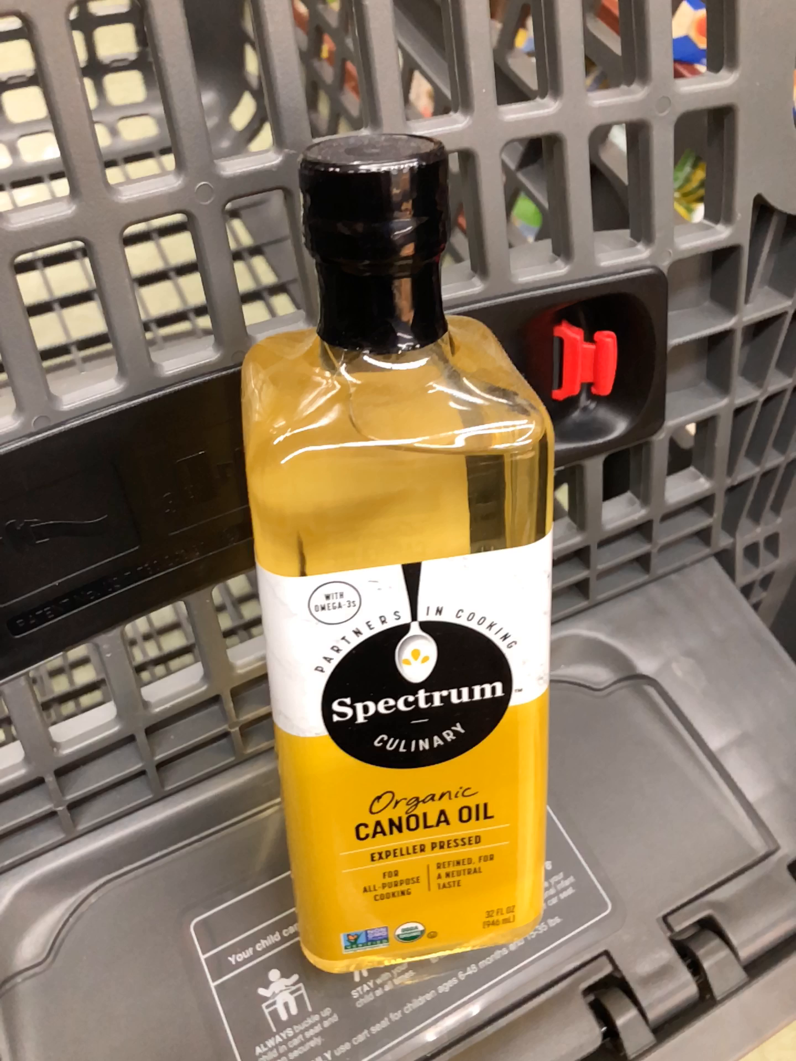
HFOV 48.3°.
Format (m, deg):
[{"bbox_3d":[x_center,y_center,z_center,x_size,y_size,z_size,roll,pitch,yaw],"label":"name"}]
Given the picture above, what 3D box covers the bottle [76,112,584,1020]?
[{"bbox_3d":[-0.010,0.024,0.262,0.090,0.250,0.090,-3,33,2],"label":"bottle"}]
